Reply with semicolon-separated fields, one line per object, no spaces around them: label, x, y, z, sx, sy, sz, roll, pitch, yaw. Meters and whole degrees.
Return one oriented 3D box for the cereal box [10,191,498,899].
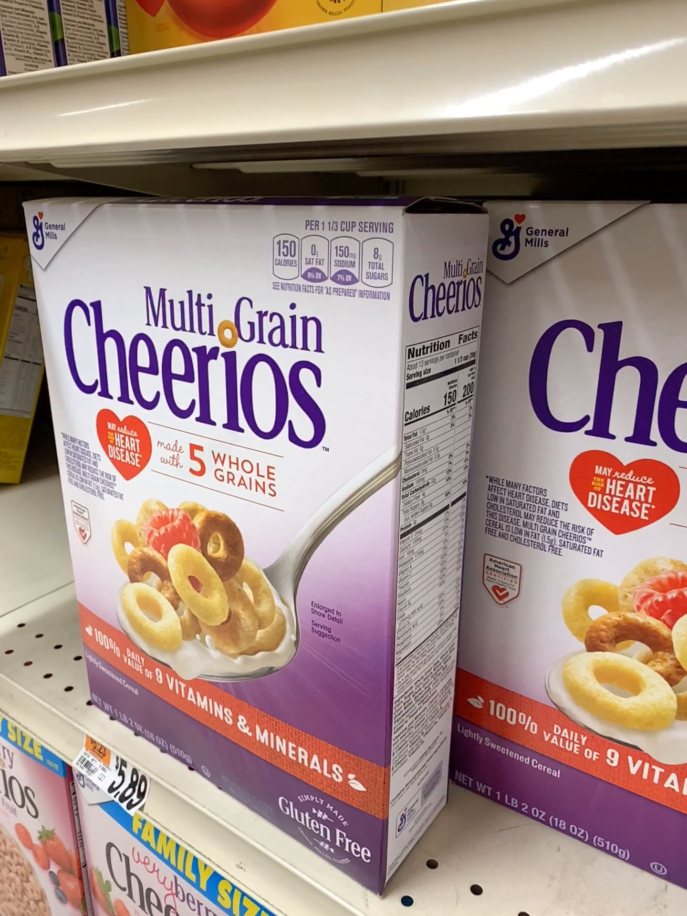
cereal box;-0.059;0.026;0.386;0.250;0.319;0.070;14;23;34
